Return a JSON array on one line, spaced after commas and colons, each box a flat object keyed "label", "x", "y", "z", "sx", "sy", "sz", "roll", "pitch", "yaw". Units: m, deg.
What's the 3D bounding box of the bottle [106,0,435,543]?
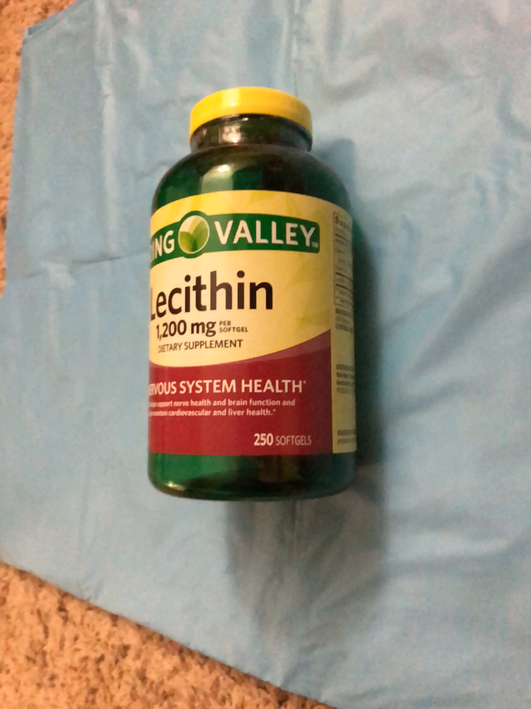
[{"label": "bottle", "x": 0.003, "y": -0.023, "z": 0.250, "sx": 0.100, "sy": 0.090, "sz": 0.170, "roll": -4, "pitch": 84, "yaw": 38}]
